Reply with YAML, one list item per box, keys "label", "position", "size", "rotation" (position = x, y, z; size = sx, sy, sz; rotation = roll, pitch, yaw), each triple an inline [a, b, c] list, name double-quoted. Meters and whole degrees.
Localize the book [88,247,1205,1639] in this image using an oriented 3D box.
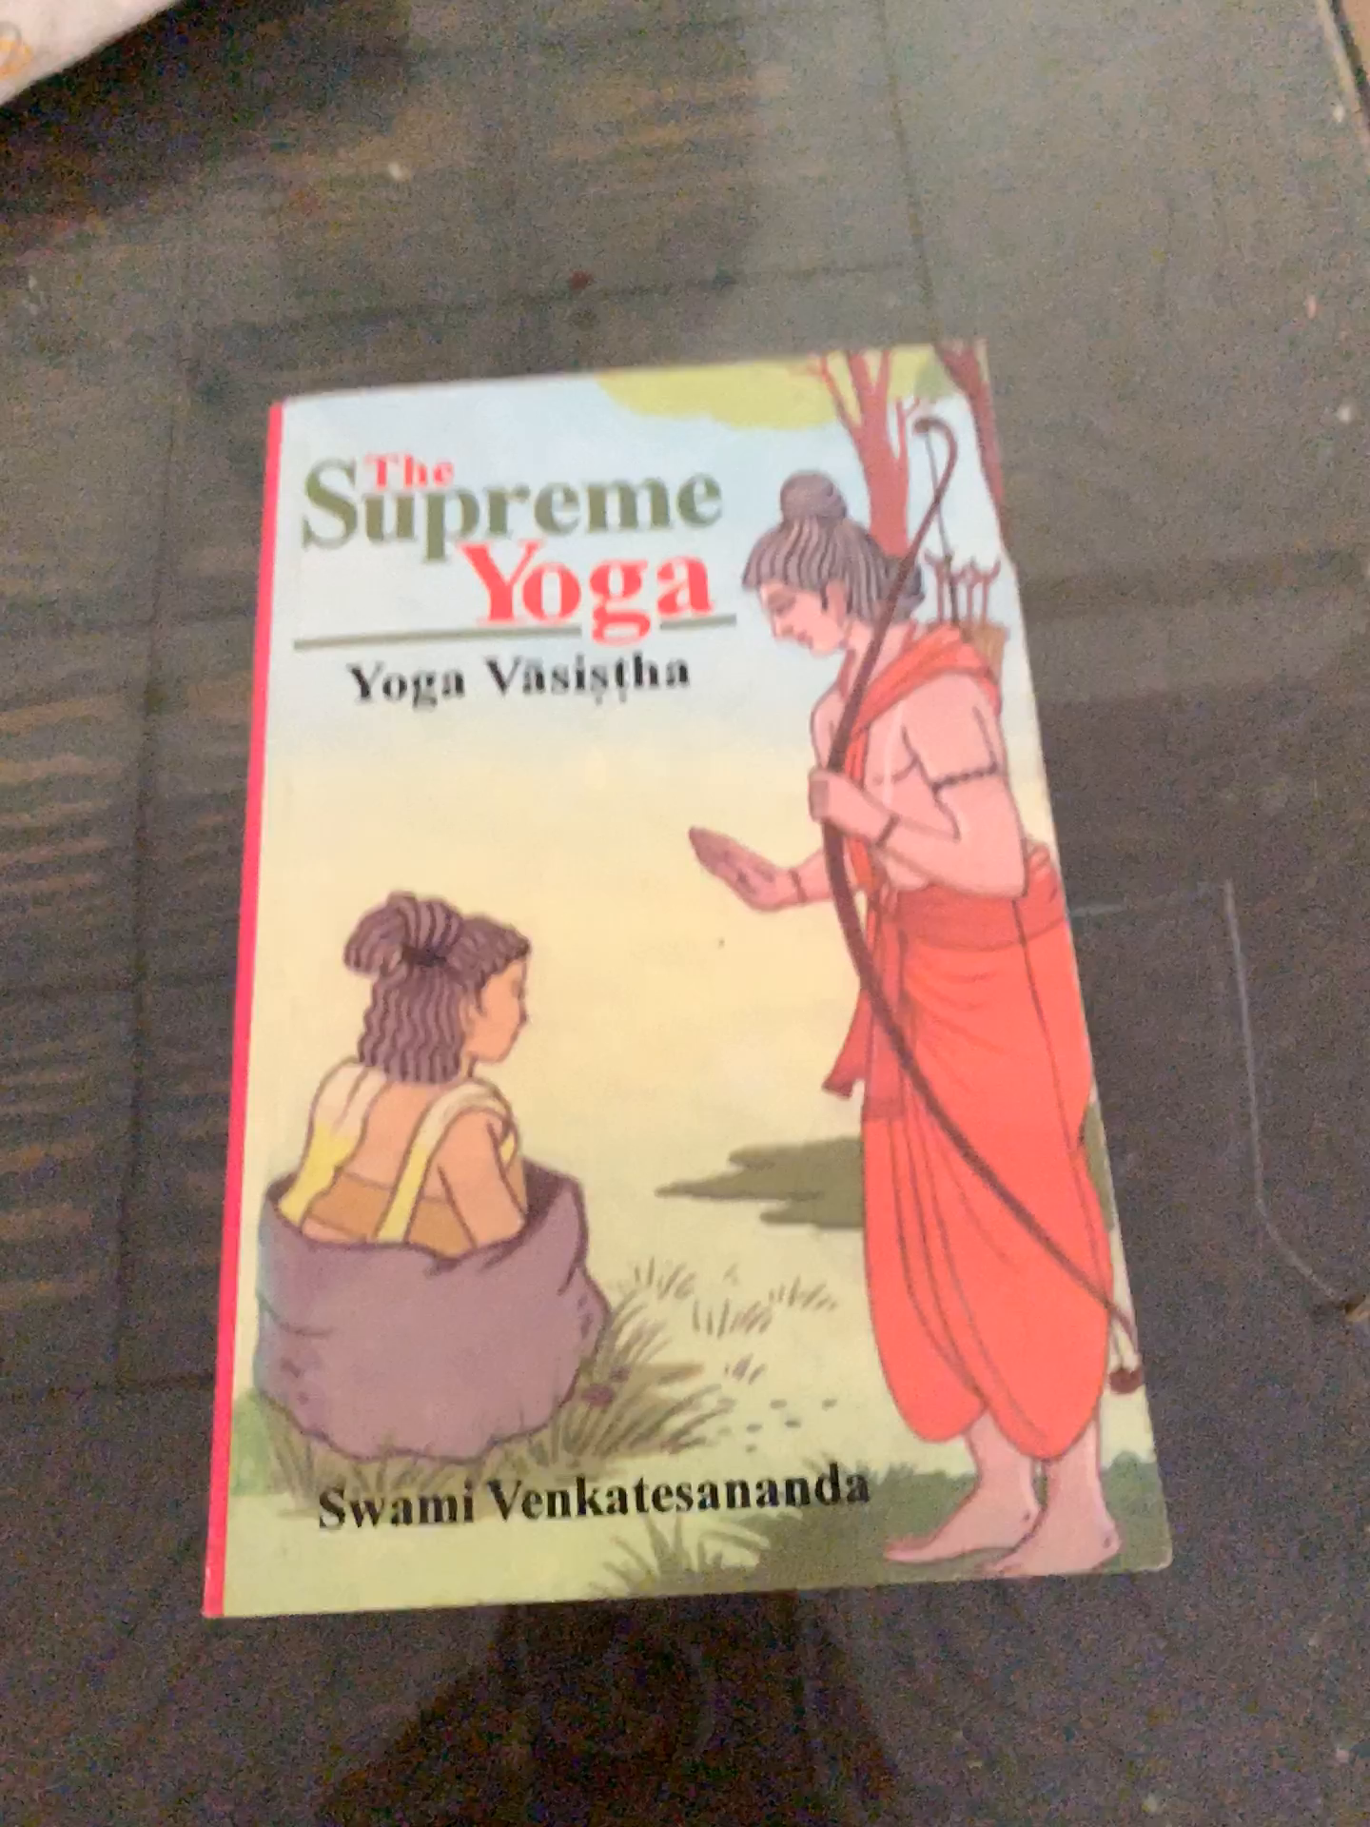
- label: "book"
  position: [-0.011, -0.007, 0.229]
  size: [0.140, 0.030, 0.211]
  rotation: [-5, 69, 2]
